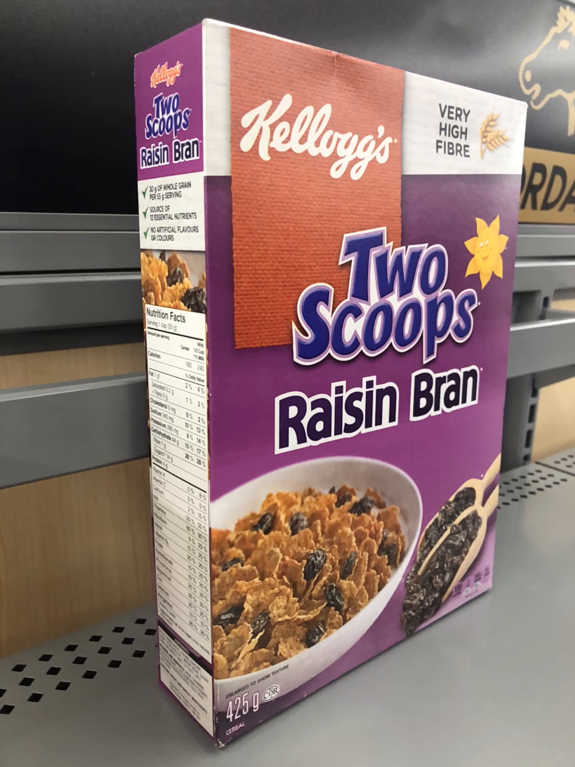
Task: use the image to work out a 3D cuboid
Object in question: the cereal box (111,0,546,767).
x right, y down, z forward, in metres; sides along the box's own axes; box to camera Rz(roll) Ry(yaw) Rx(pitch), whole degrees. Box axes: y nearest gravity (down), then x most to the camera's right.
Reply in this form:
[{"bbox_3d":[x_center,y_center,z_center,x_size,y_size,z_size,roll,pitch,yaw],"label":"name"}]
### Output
[{"bbox_3d":[0.034,-0.003,0.299,0.210,0.269,0.050,-9,14,-39],"label":"cereal box"}]
